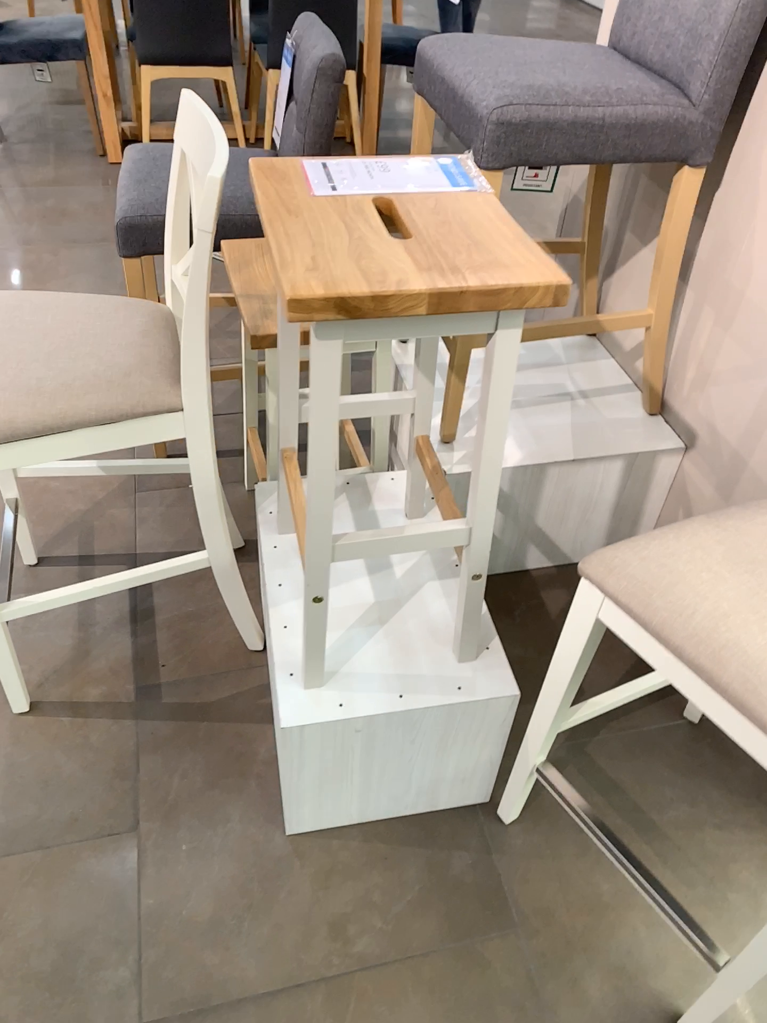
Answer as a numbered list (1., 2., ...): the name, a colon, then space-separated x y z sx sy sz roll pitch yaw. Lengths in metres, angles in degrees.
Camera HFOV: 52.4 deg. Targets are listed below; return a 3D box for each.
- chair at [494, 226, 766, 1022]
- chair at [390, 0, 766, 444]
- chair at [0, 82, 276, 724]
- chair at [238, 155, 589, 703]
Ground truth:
1. chair: 0.547 0.208 1.040 0.513 0.944 0.420 -24 49 -28
2. chair: 0.353 -0.689 1.487 0.531 0.984 0.471 -6 43 -12
3. chair: -0.499 -0.150 1.353 0.502 0.954 0.441 -11 44 -16
4. chair: -0.009 -0.105 1.112 0.321 0.637 0.401 -6 43 -11
